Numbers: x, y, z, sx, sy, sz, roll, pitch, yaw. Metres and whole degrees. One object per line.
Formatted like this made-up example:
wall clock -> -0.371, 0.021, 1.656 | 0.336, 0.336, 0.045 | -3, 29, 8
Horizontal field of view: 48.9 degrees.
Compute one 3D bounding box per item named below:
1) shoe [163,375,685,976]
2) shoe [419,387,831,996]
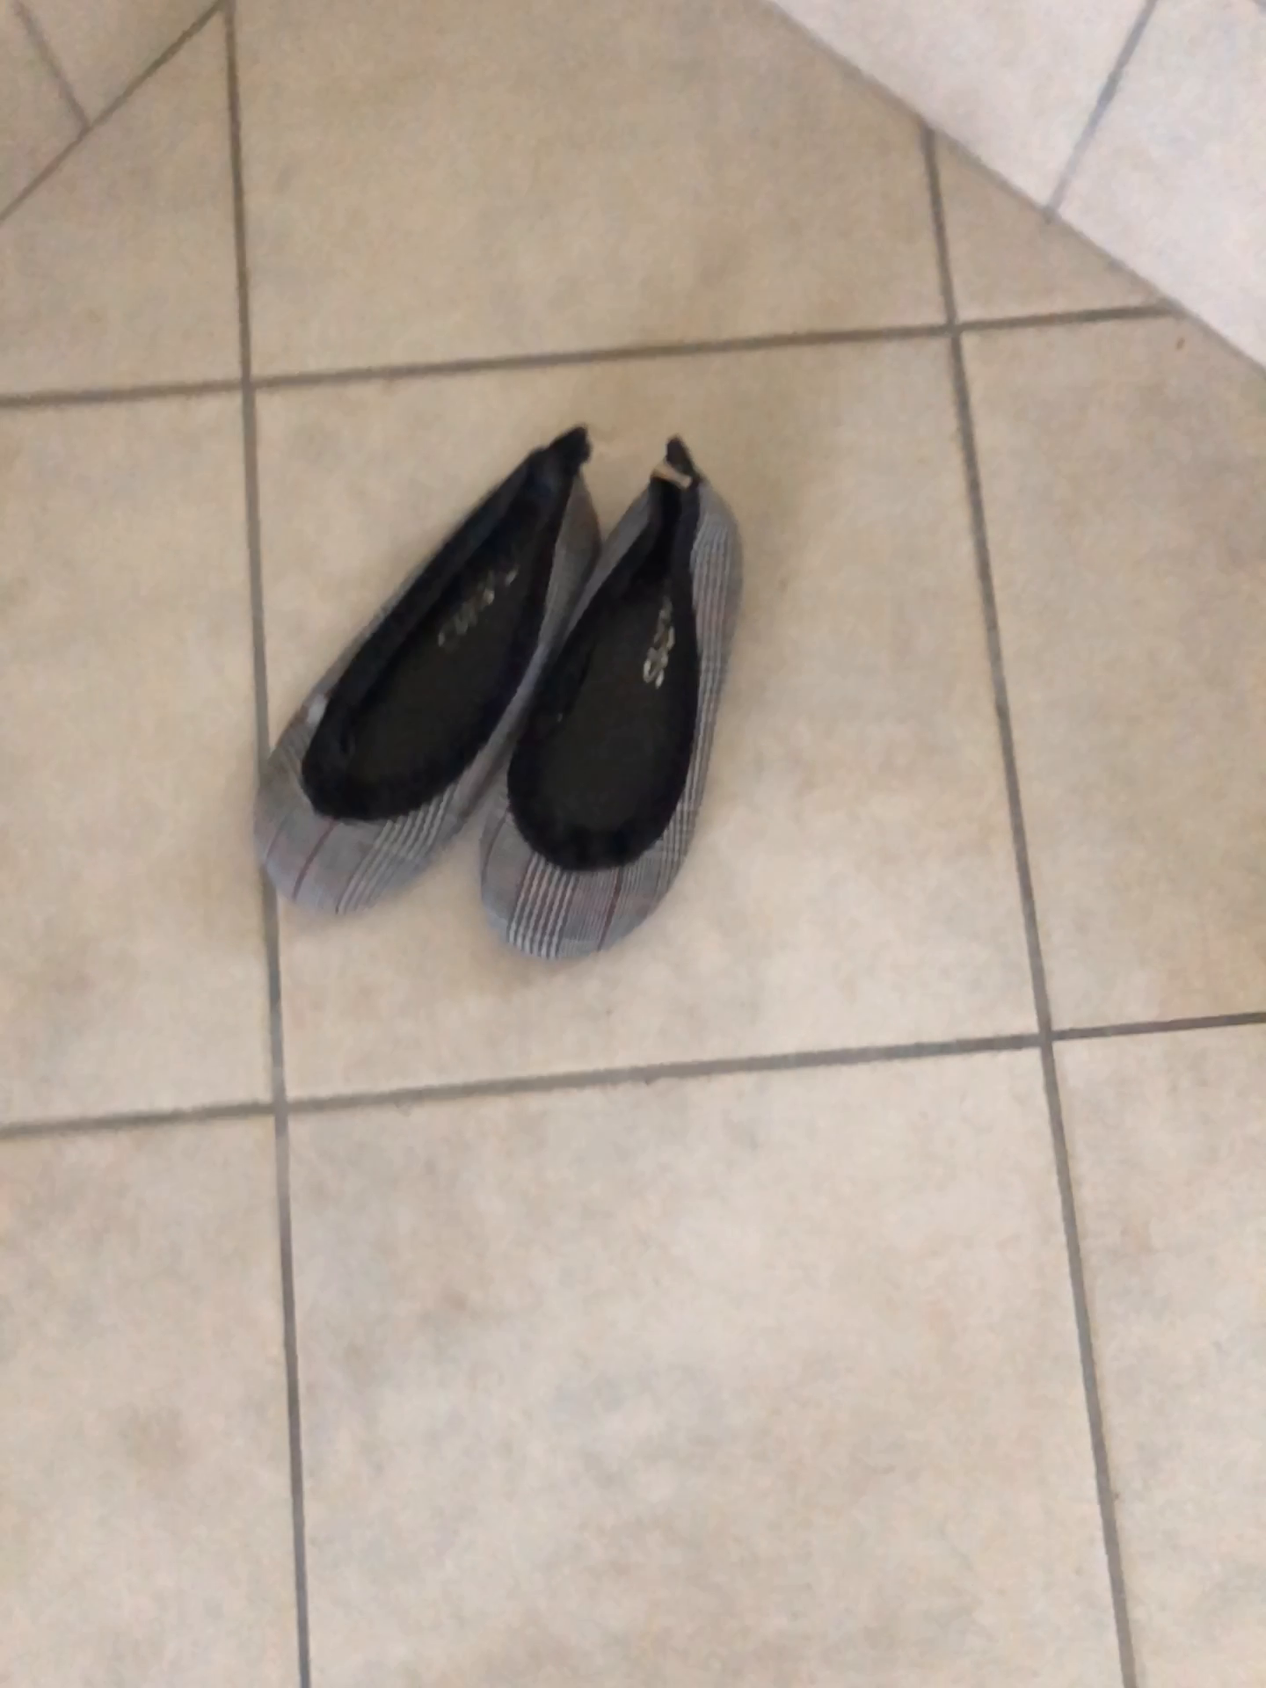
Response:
shoe -> -0.075, -0.063, 0.550 | 0.090, 0.070, 0.210 | 33, 82, 5
shoe -> -0.001, -0.056, 0.547 | 0.090, 0.070, 0.210 | 18, 81, 3
